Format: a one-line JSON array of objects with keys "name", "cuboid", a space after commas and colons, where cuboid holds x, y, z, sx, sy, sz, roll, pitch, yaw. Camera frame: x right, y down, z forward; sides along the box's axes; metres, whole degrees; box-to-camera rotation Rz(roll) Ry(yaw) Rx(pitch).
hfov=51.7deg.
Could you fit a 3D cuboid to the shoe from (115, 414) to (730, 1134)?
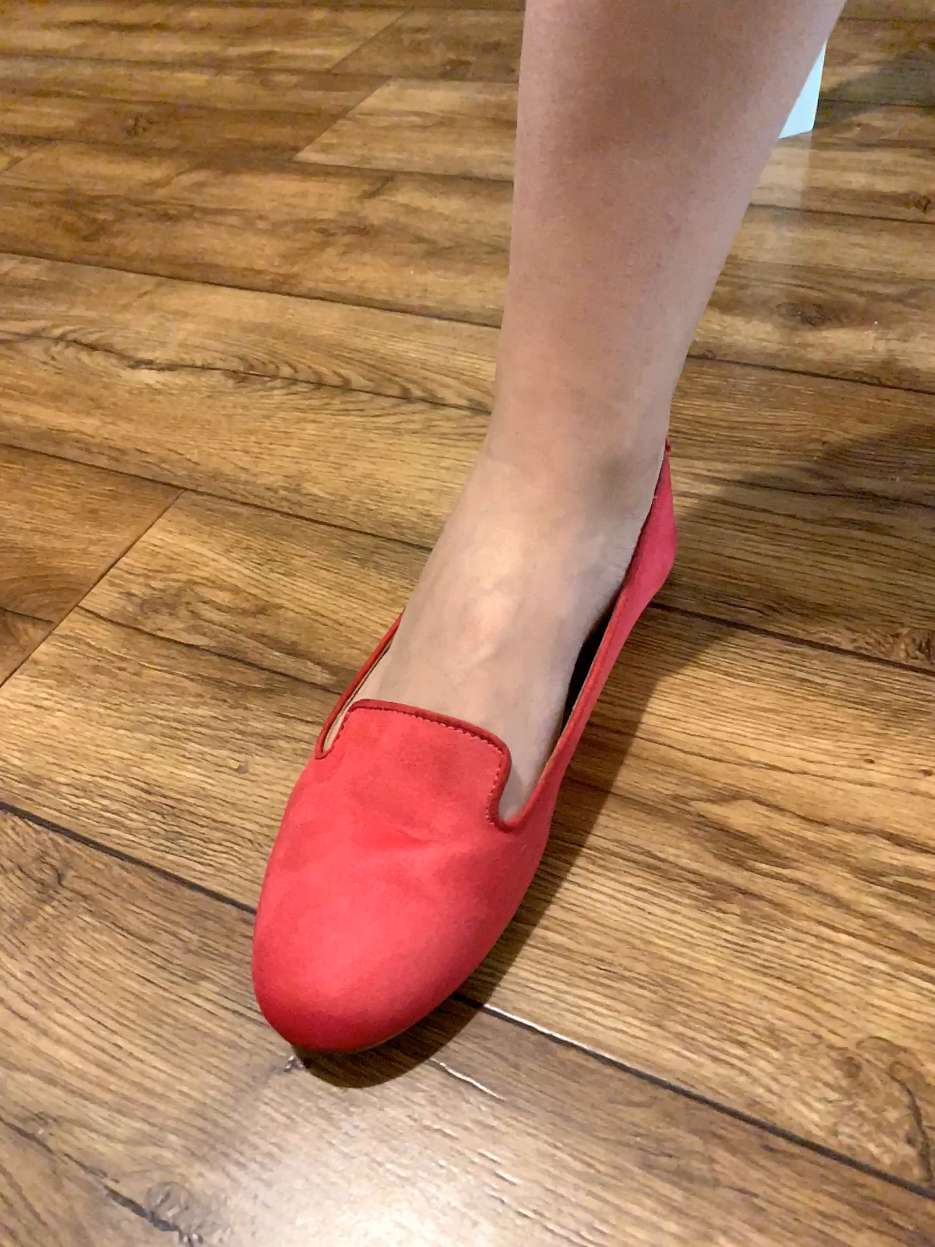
[{"name": "shoe", "cuboid": [0.004, 0.028, 0.312, 0.086, 0.060, 0.221, 19, 53, 23]}]
